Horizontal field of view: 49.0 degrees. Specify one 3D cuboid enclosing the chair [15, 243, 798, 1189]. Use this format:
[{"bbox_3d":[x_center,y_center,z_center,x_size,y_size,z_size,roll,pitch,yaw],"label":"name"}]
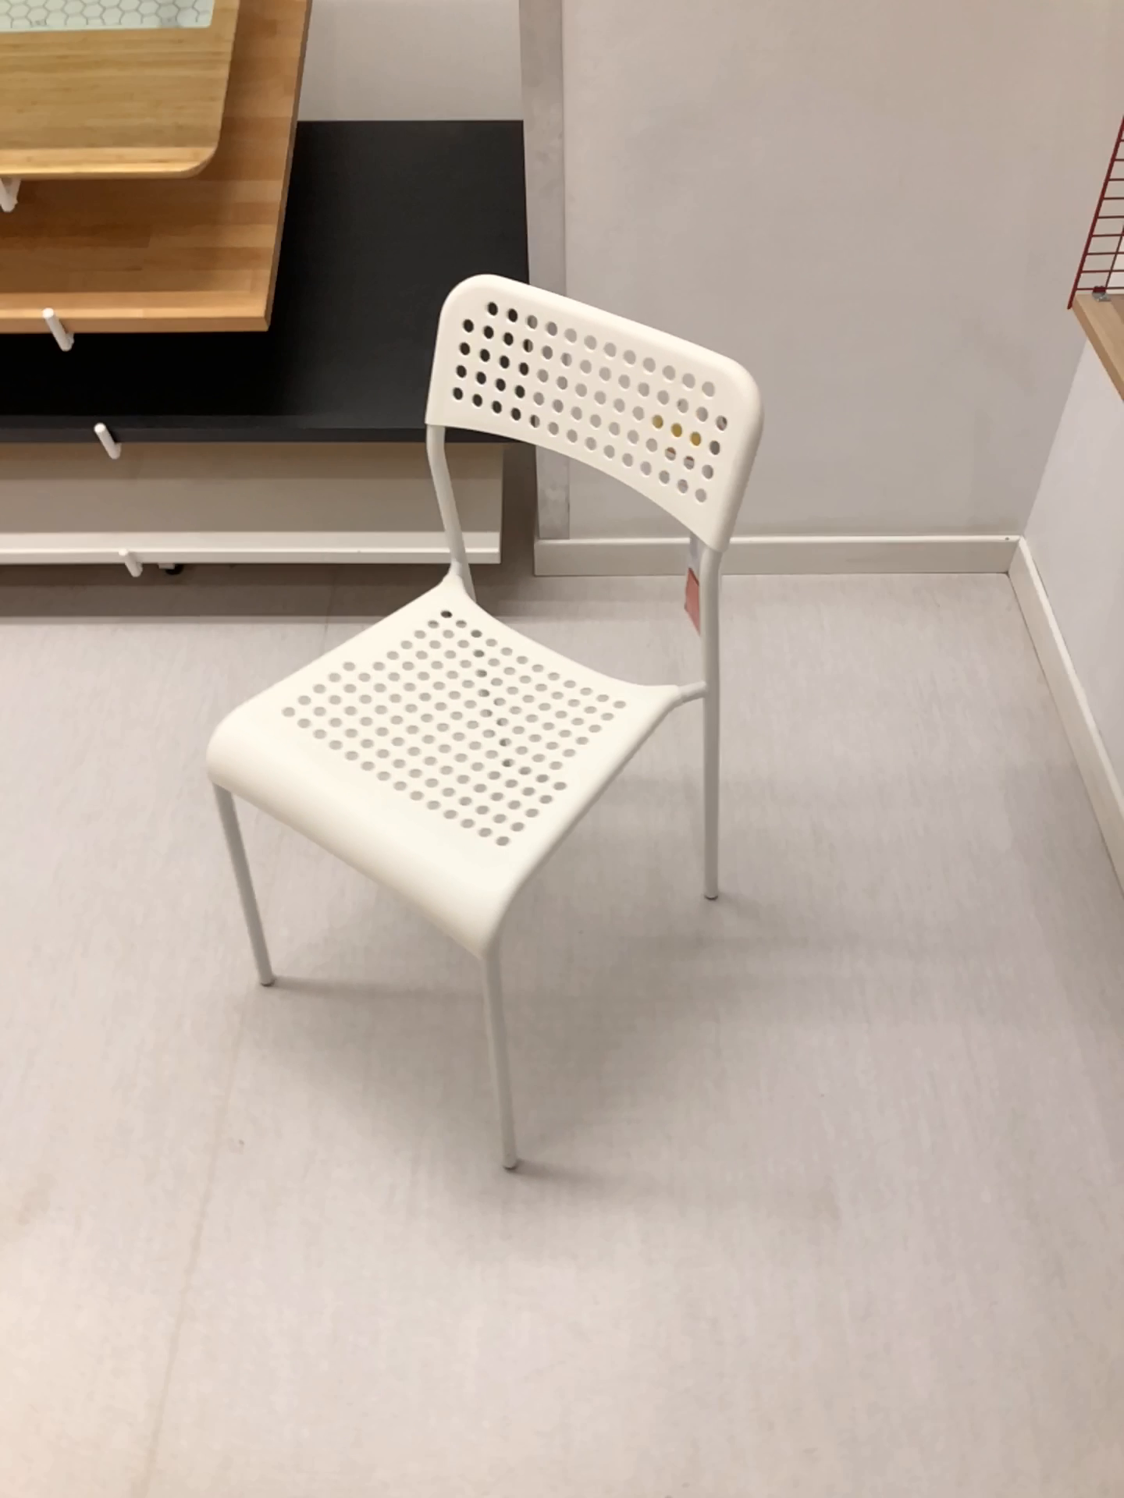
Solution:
[{"bbox_3d":[-0.104,-0.013,1.257,0.421,0.735,0.471,28,54,25],"label":"chair"}]
